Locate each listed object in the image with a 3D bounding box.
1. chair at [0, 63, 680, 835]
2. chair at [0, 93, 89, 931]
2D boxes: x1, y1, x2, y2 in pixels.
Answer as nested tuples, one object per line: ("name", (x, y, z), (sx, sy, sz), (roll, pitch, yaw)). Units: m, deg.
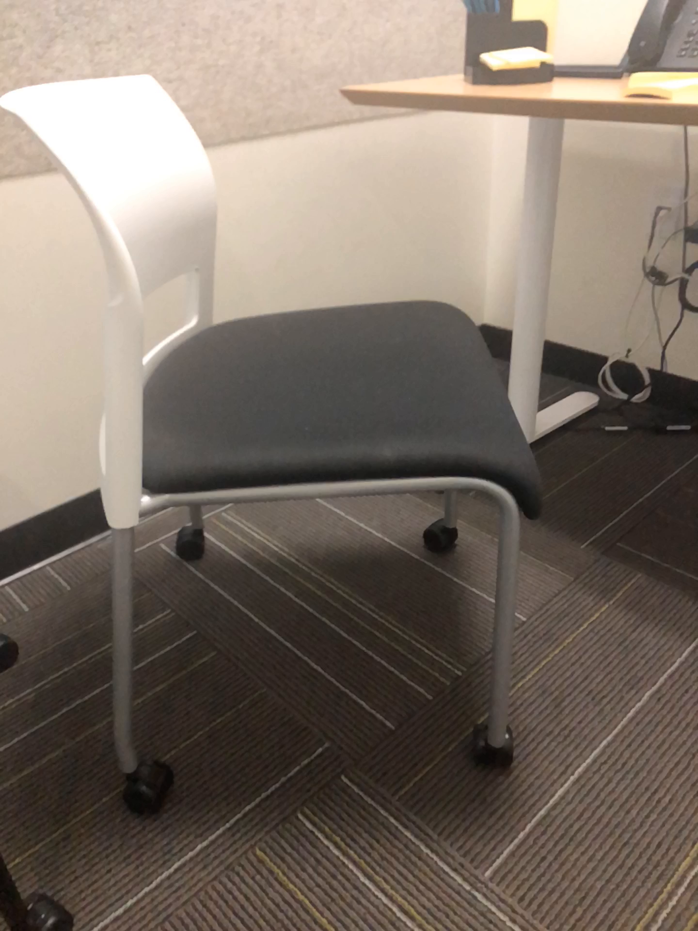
("chair", (-0.064, -0.076, 1.221), (0.650, 0.962, 0.705), (-2, 29, -7))
("chair", (-0.753, 0.133, 0.839), (0.652, 0.933, 0.703), (-13, 31, -23))
